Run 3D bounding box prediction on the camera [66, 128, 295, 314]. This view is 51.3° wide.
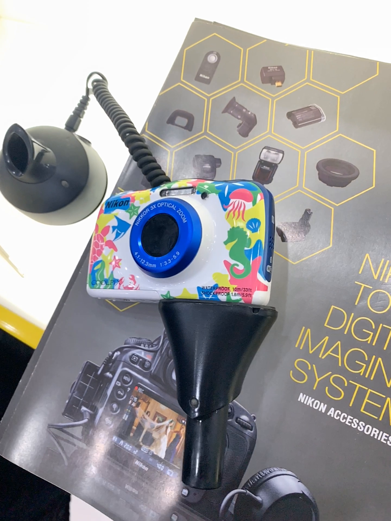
[{"bbox_3d":[-0.009,-0.017,0.214,0.110,0.030,0.080,-1,73,28],"label":"camera"}]
